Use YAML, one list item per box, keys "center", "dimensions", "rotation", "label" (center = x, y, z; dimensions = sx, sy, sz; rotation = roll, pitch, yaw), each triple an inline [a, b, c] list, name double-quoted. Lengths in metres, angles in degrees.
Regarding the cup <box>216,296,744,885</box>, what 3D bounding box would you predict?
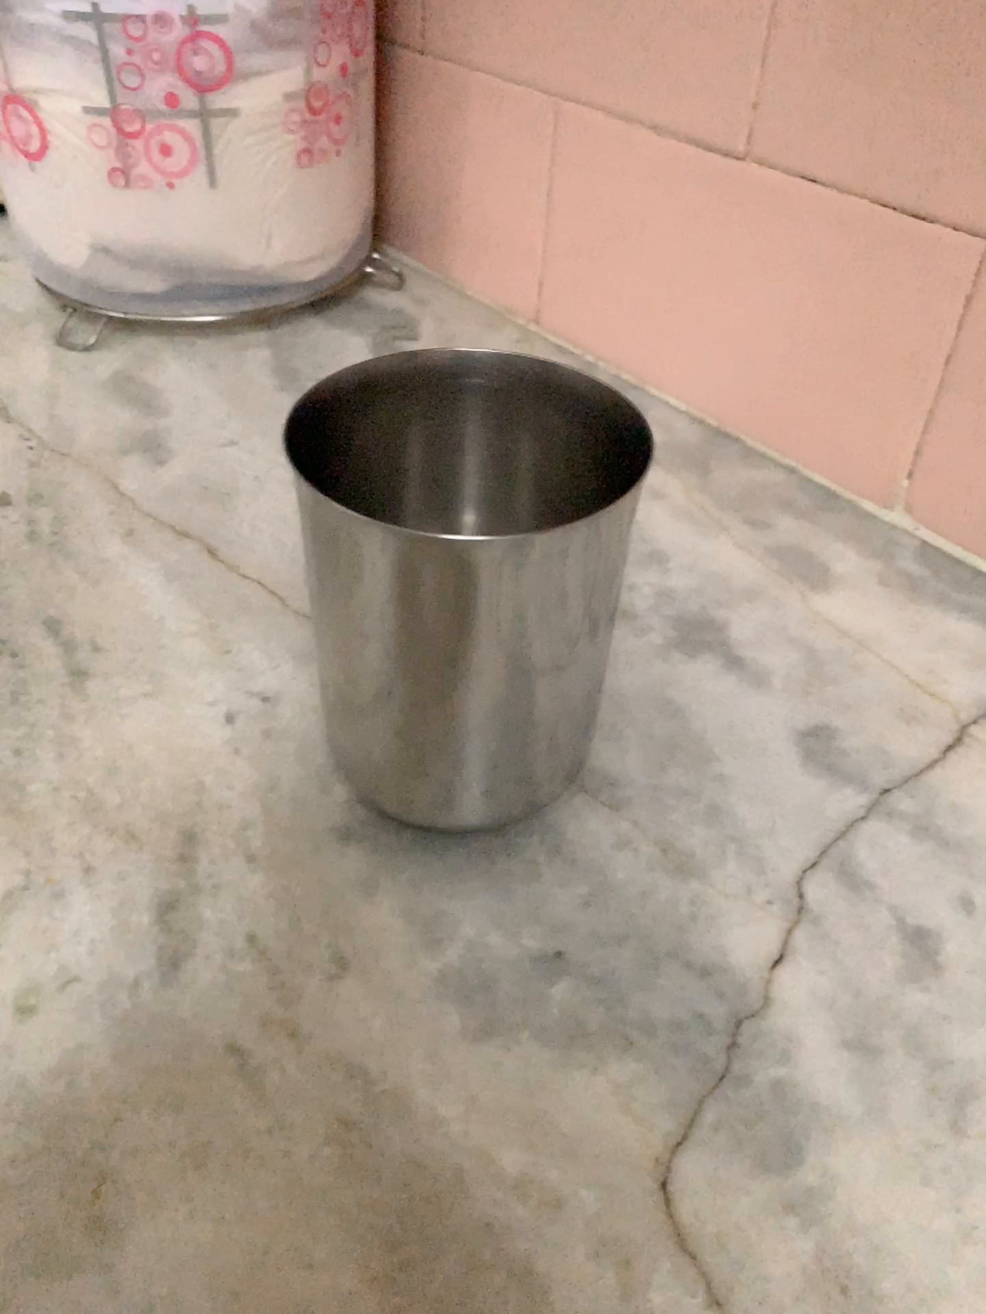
- center: [-0.008, -0.018, 0.233]
  dimensions: [0.080, 0.090, 0.080]
  rotation: [1, 41, -1]
  label: "cup"
